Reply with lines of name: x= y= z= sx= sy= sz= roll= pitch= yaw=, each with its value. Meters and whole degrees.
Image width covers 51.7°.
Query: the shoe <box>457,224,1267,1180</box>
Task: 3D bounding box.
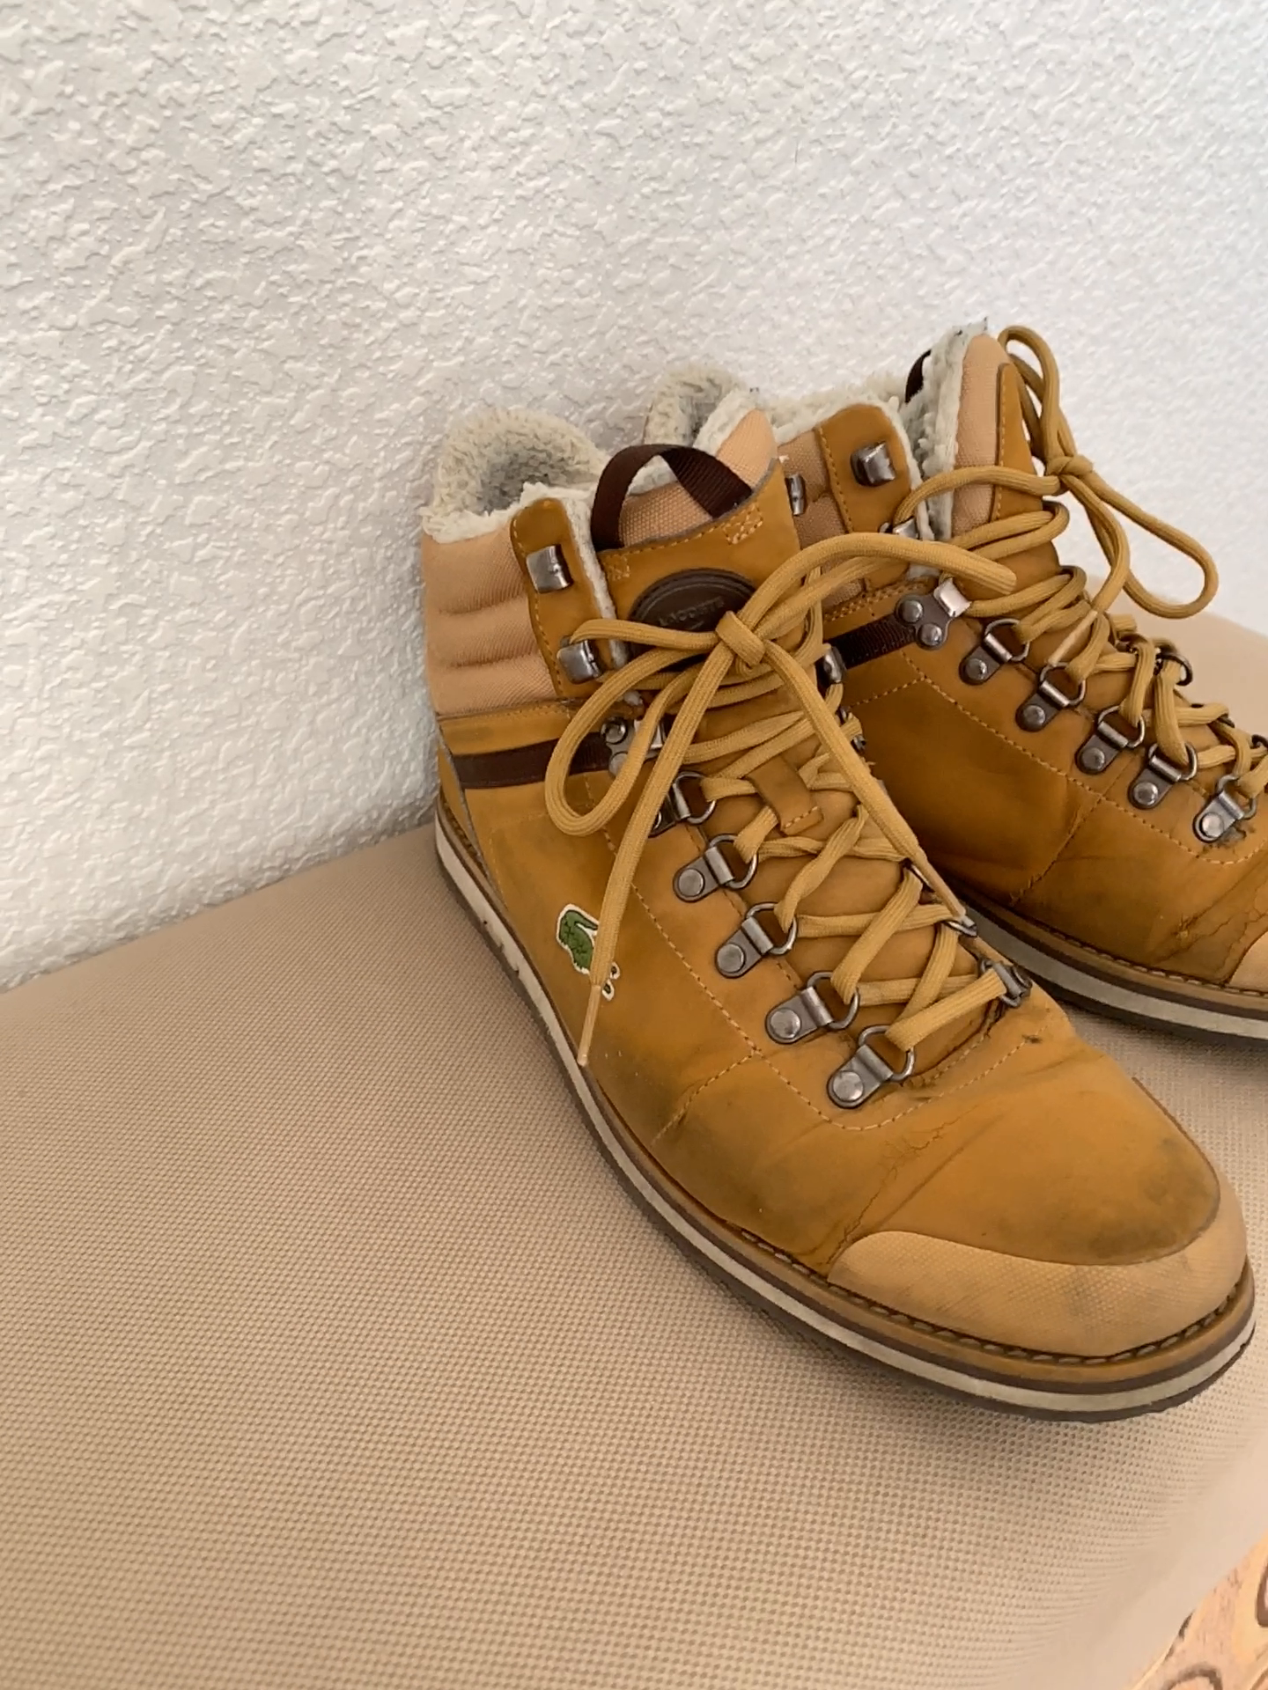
shoe: x=0.102 y=-0.064 z=0.391 sx=0.301 sy=0.149 sz=0.120 roll=28 pitch=46 yaw=27

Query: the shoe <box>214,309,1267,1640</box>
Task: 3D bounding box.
shoe: x=0.019 y=-0.009 z=0.324 sx=0.120 sy=0.149 sz=0.301 roll=-21 pitch=43 yaw=-26
